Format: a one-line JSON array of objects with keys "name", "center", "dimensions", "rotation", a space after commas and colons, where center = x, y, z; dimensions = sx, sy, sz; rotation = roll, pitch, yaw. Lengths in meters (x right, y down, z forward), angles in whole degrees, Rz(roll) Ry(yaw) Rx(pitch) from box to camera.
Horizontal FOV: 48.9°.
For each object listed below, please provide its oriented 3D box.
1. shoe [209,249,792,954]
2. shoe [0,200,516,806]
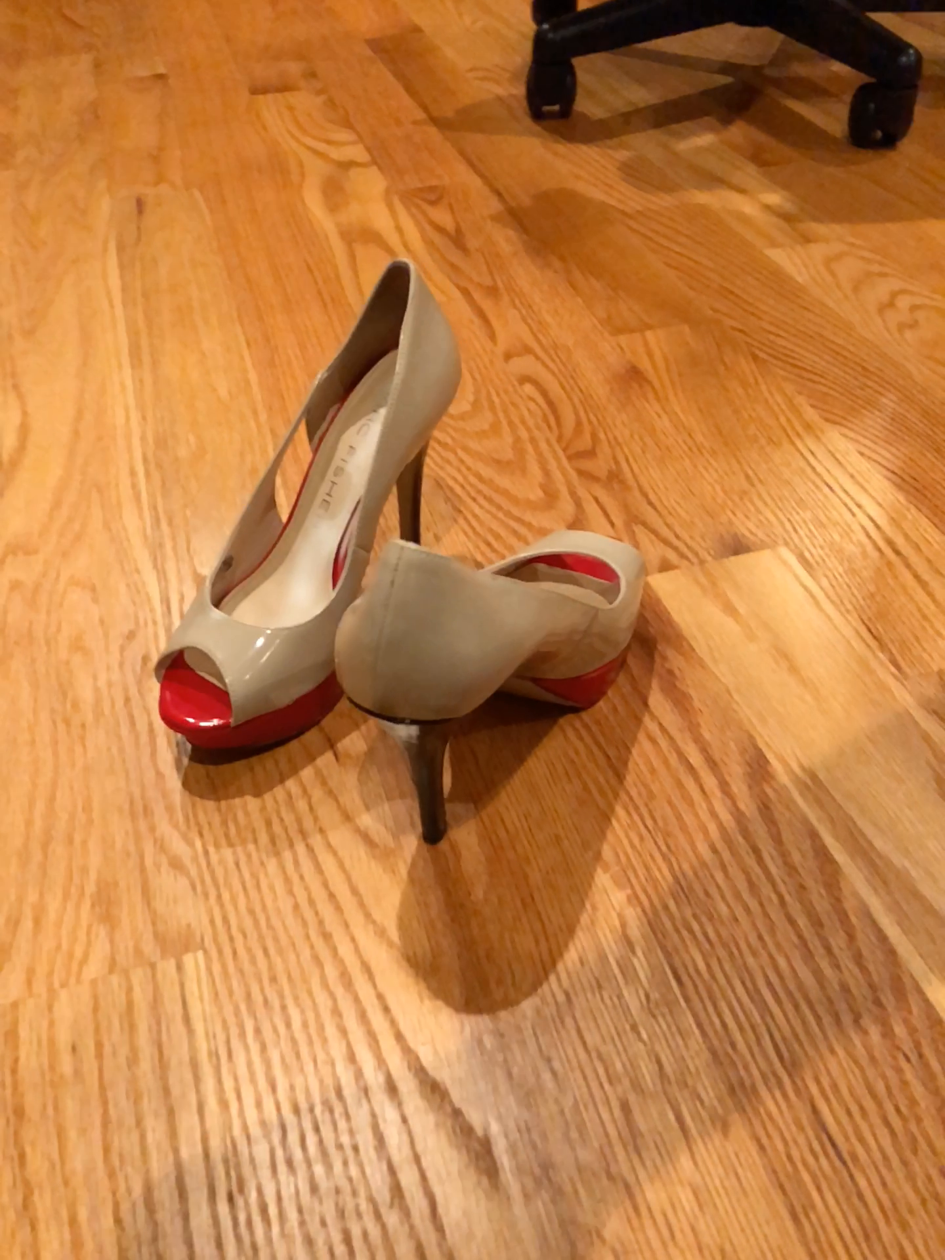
[{"name": "shoe", "center": [0.025, -0.023, 0.369], "dimensions": [0.085, 0.129, 0.216], "rotation": [21, 49, 24]}, {"name": "shoe", "center": [-0.070, -0.064, 0.447], "dimensions": [0.080, 0.149, 0.221], "rotation": [20, 48, 23]}]
